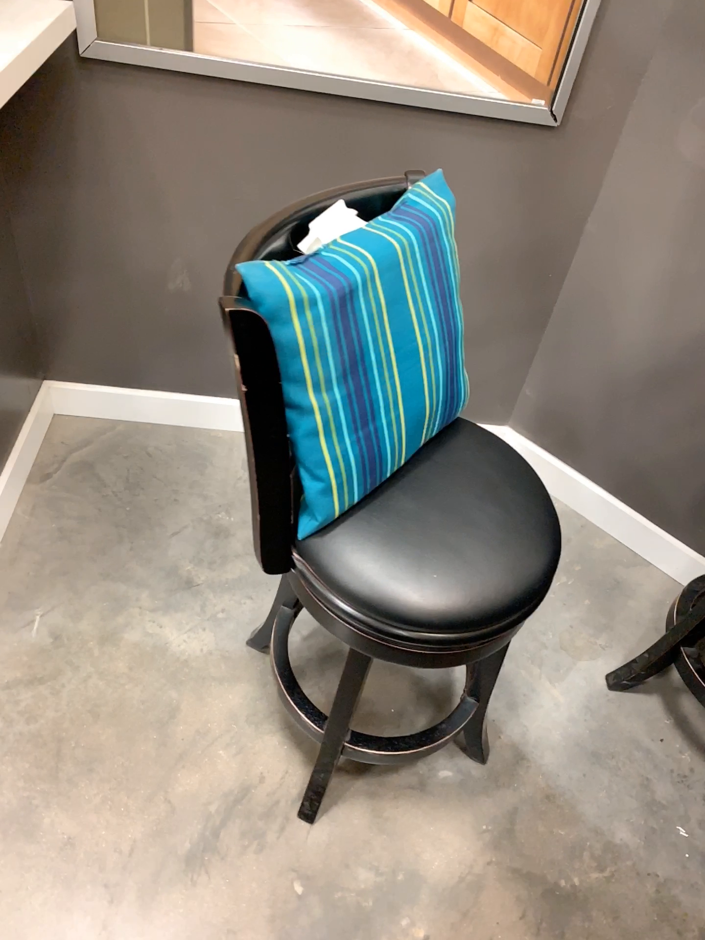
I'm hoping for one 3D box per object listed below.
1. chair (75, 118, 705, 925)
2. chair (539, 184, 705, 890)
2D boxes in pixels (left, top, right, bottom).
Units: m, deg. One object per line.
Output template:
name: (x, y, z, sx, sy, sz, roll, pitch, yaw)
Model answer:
chair: (0.053, 0.097, 1.066, 0.596, 0.904, 0.537, 39, 51, 25)
chair: (0.858, 0.136, 1.231, 0.596, 0.923, 0.537, 39, 51, 25)
